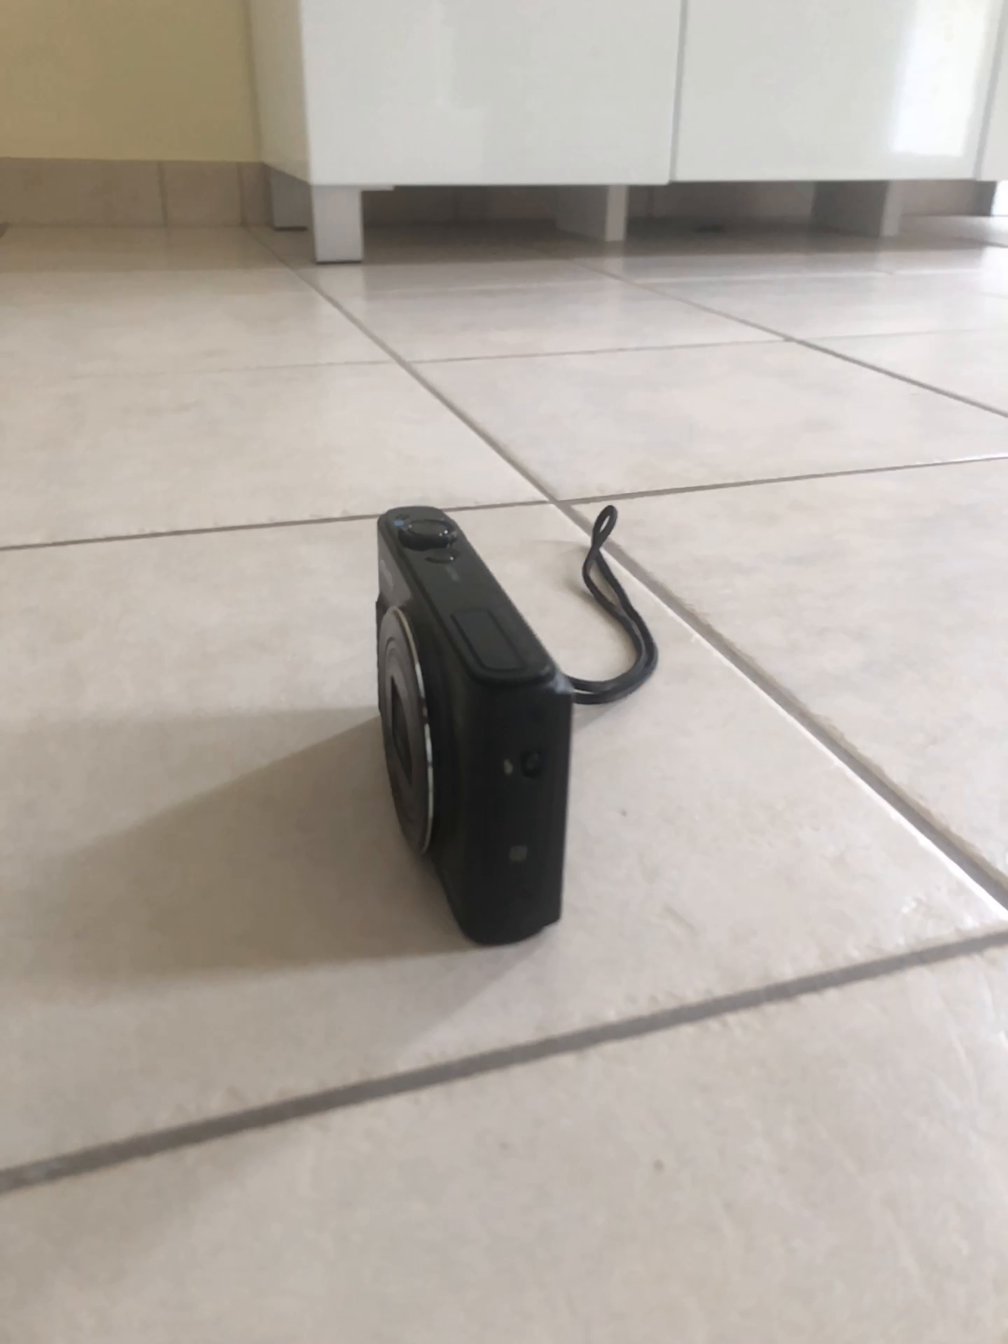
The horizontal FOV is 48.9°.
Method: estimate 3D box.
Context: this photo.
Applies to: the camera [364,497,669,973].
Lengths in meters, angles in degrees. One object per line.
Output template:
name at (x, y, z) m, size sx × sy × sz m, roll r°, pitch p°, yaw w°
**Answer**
camera at (-0.004, 0.006, 0.257) m, size 0.040 × 0.060 × 0.110 m, roll -6°, pitch 27°, yaw -13°
